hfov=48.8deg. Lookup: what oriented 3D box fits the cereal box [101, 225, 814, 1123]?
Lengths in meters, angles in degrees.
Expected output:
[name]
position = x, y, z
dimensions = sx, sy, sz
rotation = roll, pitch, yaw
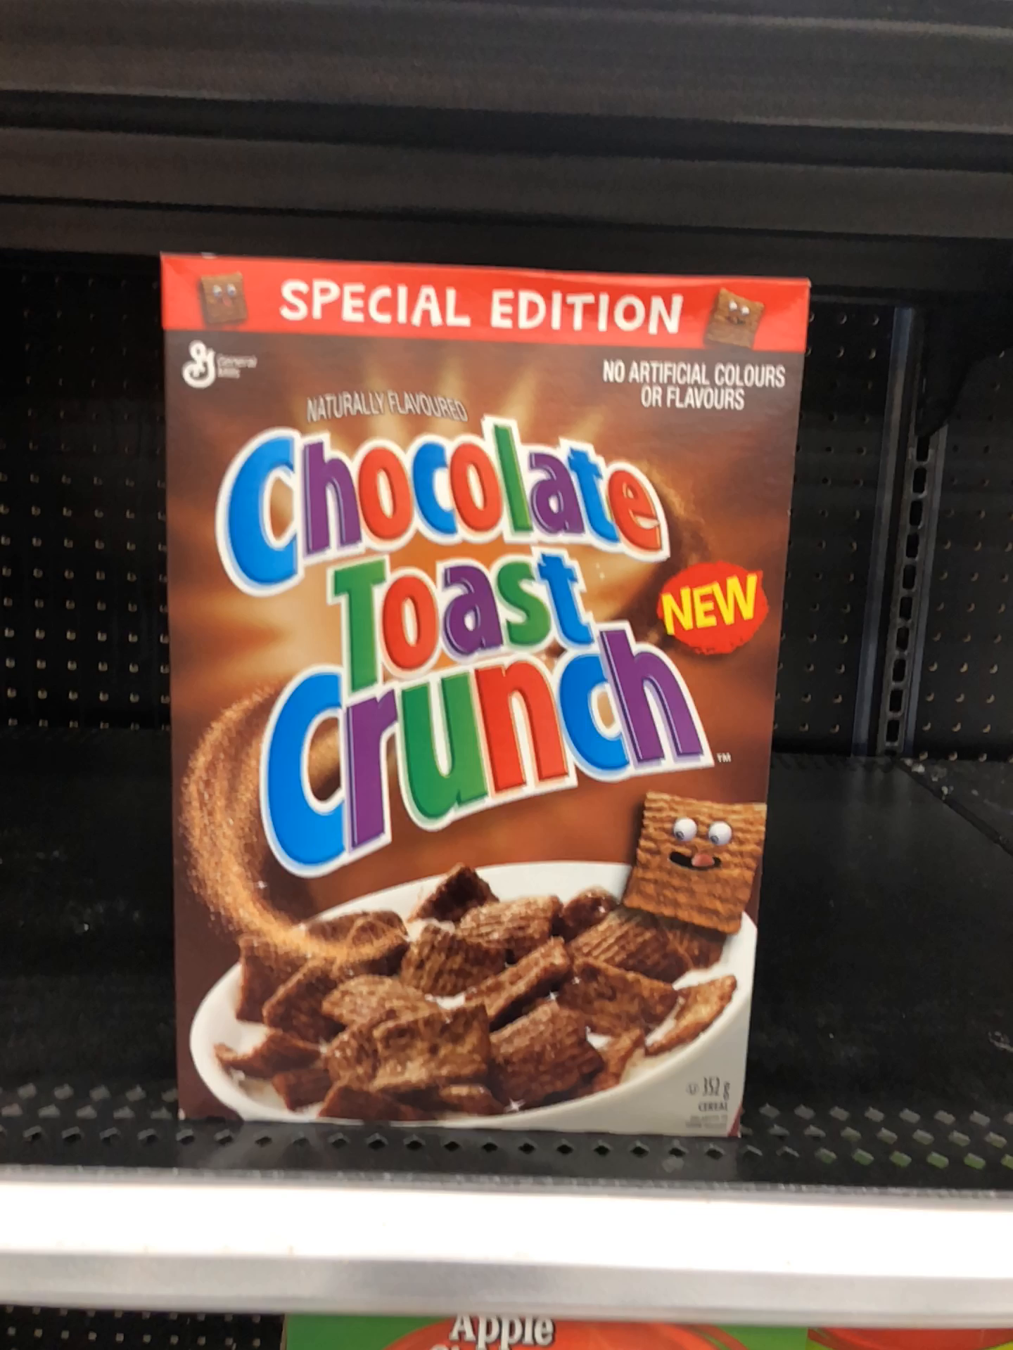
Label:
[cereal box]
position = -0.018, 0.005, 0.362
dimensions = 0.200, 0.269, 0.050
rotation = 2, 10, -1
